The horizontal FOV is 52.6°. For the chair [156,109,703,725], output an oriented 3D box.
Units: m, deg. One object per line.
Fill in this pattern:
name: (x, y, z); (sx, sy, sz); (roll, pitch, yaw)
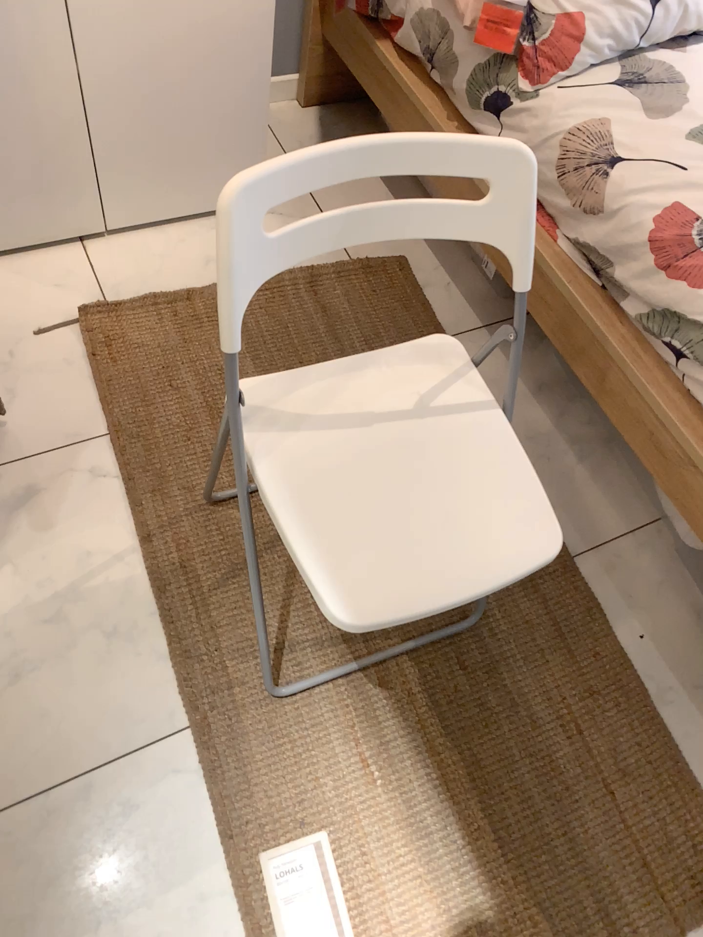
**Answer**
chair: (0.047, -0.016, 0.940); (0.450, 0.659, 0.430); (-15, 63, -18)
